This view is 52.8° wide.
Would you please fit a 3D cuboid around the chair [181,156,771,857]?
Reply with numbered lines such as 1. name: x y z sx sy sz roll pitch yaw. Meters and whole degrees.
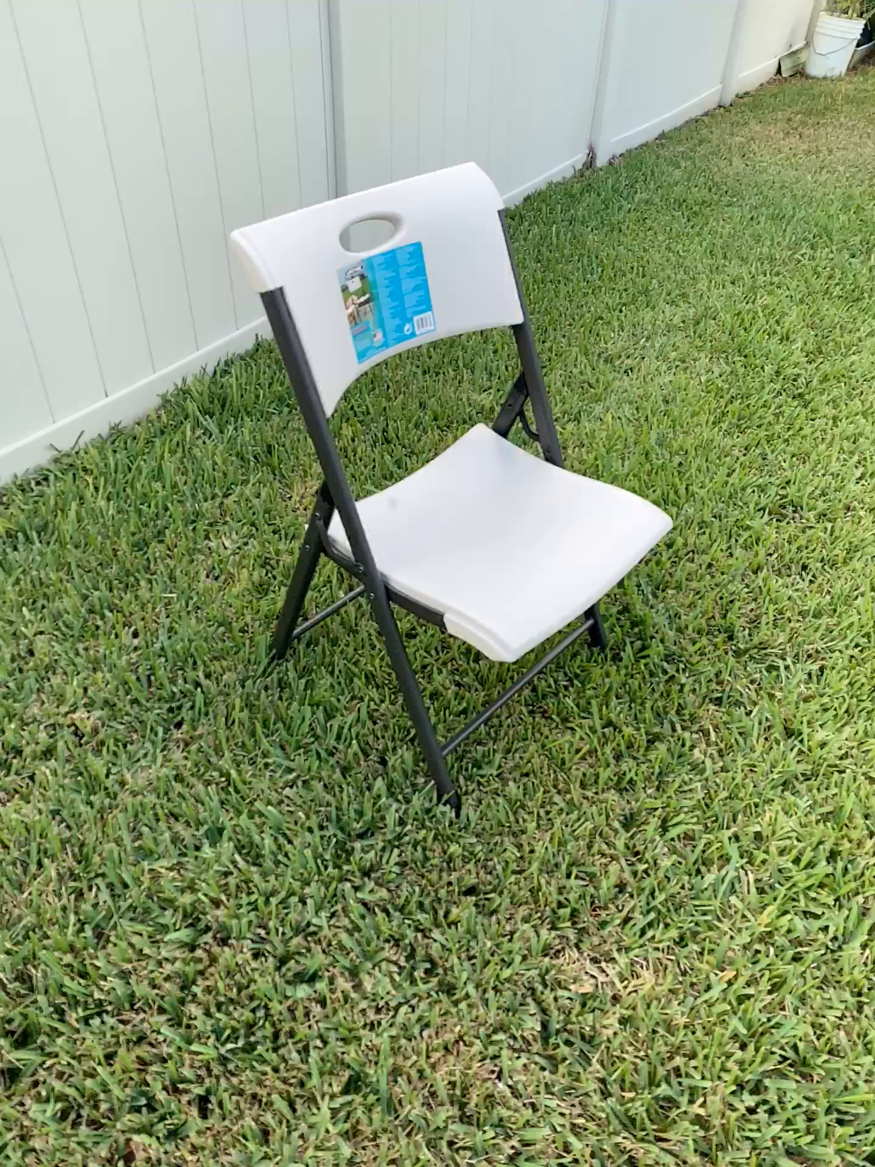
1. chair: 0.047 -0.135 1.324 0.516 0.766 0.522 30 46 30
